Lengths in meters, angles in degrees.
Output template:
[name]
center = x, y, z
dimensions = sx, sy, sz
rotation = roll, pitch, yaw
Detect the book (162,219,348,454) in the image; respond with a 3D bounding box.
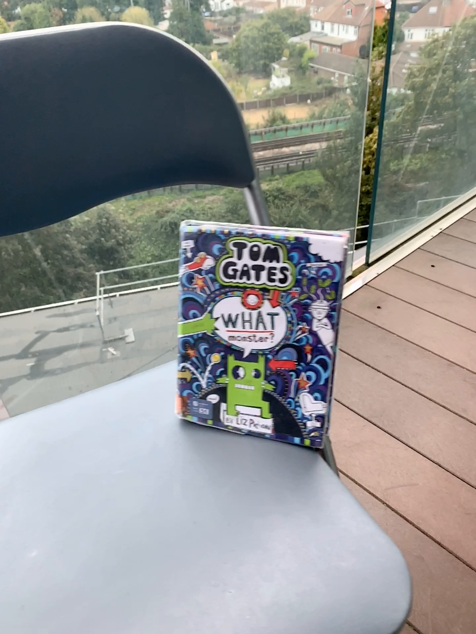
[book]
center = 0.012, 0.015, 0.467
dimensions = 0.160, 0.199, 0.050
rotation = 7, 18, 16
